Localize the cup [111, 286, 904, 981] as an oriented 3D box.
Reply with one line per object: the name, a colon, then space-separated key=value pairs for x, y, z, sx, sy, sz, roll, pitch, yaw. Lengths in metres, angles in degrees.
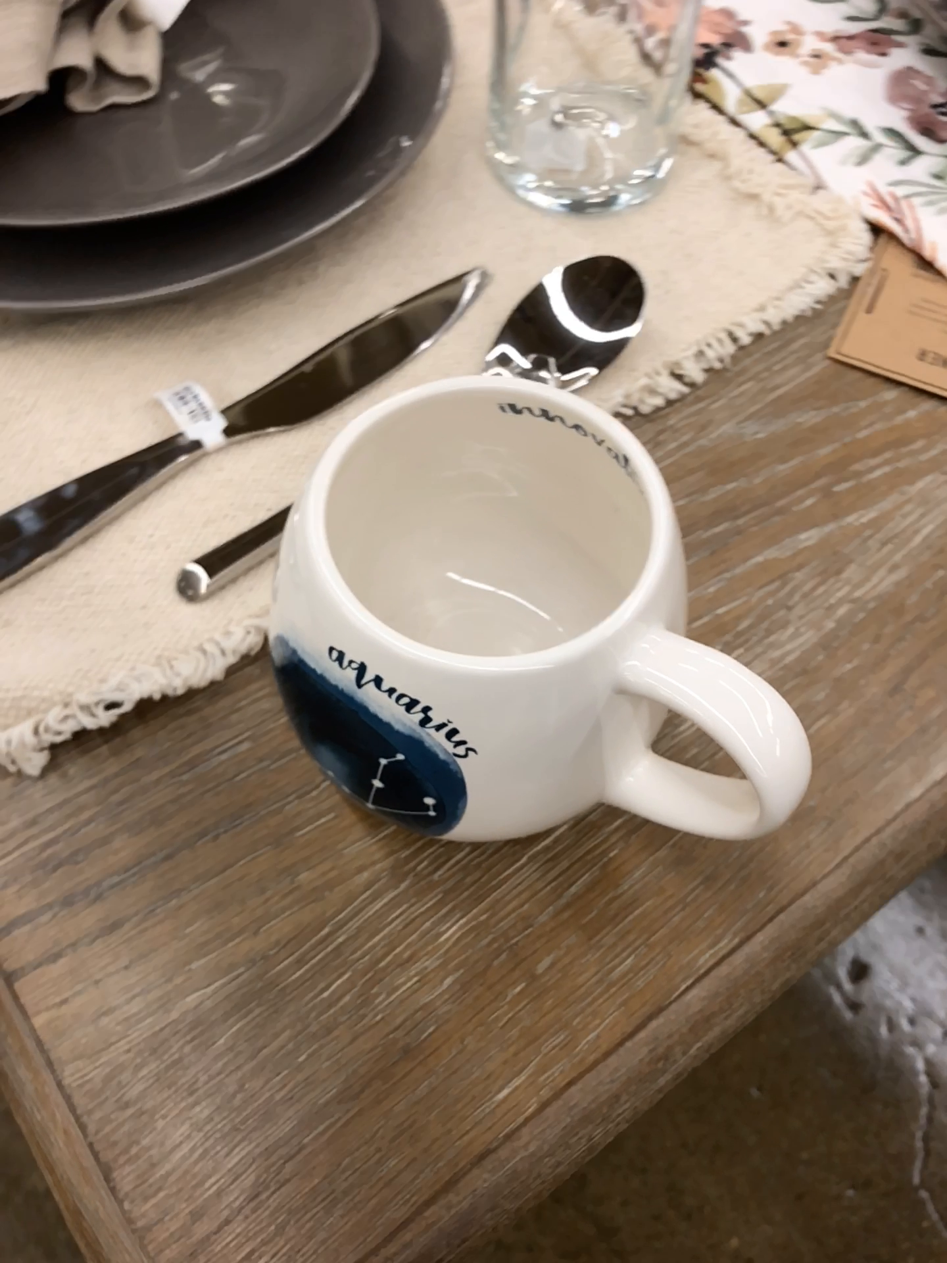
cup: x=0.007 y=0.001 z=0.245 sx=0.134 sy=0.081 sz=0.083 roll=27 pitch=63 yaw=13
